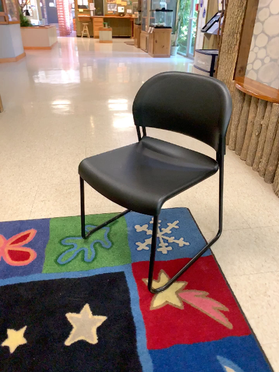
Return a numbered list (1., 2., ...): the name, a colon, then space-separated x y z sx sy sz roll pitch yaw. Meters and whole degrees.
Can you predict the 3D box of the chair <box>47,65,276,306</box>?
1. chair: 0.079 -0.086 1.275 0.631 0.736 0.612 -25 39 -38
